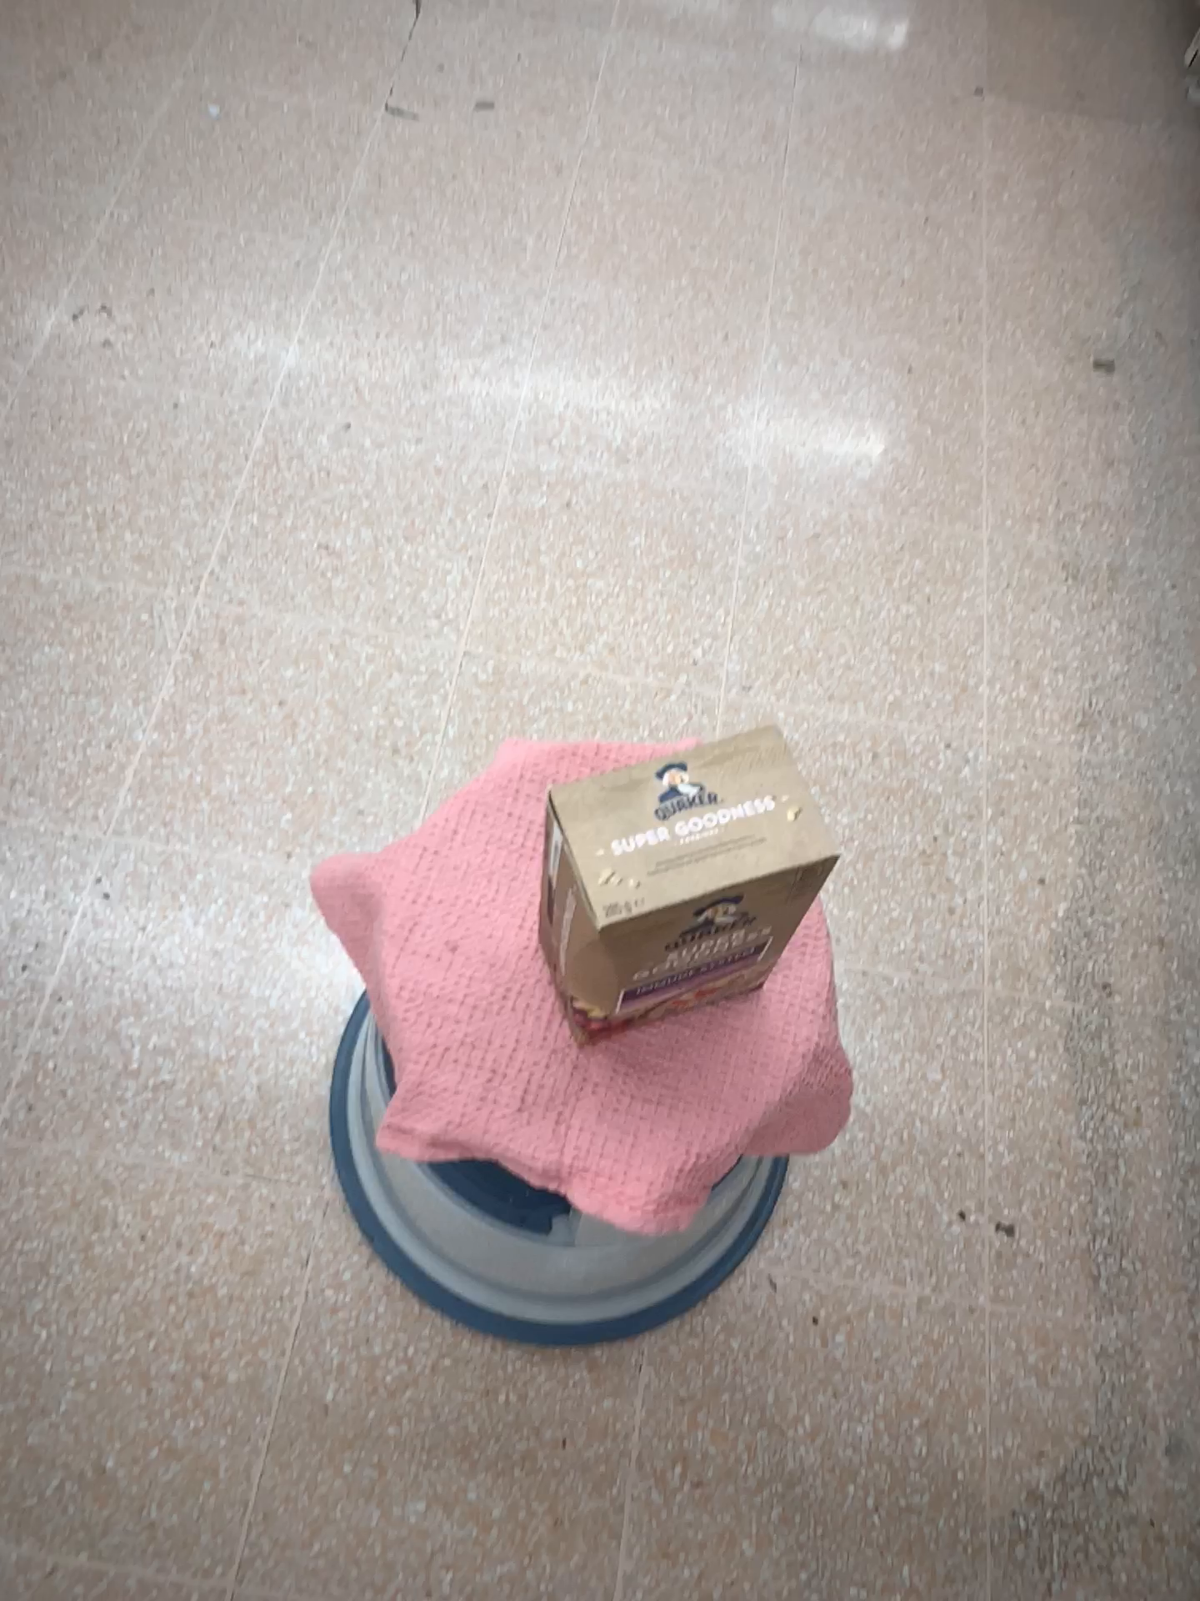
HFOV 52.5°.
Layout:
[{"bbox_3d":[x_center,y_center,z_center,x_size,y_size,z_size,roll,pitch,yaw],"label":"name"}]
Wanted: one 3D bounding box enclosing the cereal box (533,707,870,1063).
[{"bbox_3d":[0.043,0.056,0.674,0.130,0.209,0.090,-17,67,-13],"label":"cereal box"}]
